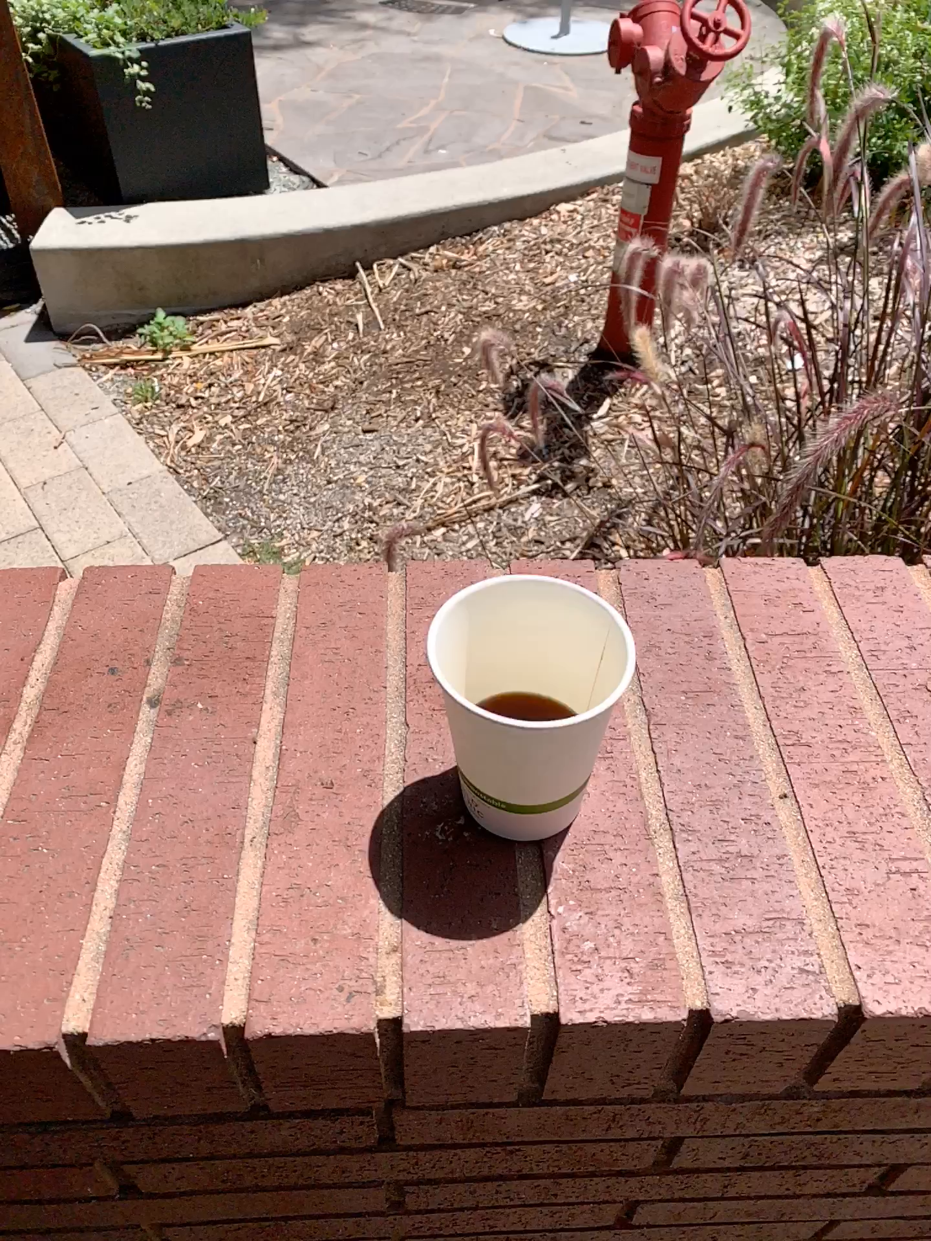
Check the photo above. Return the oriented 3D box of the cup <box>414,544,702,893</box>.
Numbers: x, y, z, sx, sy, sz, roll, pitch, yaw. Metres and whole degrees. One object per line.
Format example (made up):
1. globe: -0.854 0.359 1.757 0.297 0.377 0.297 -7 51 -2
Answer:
1. cup: 0.036 0.045 0.443 0.090 0.109 0.090 0 45 0
